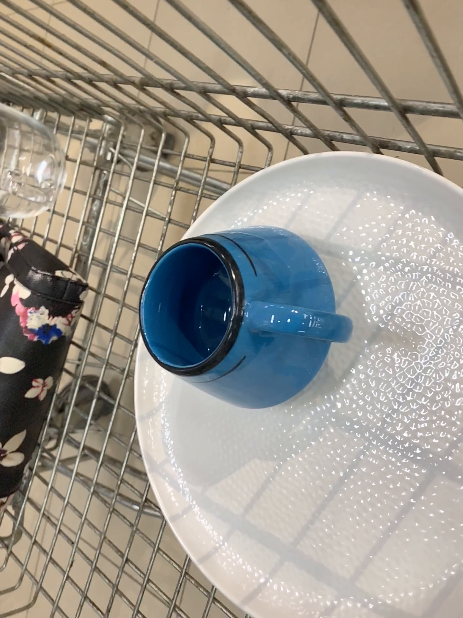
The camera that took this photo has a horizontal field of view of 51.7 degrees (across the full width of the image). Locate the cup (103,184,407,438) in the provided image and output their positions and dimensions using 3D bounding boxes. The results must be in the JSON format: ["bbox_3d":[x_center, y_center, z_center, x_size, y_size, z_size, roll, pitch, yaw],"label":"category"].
[{"bbox_3d":[0.013,0.001,0.261,0.131,0.090,0.100,4,87,35],"label":"cup"}]
